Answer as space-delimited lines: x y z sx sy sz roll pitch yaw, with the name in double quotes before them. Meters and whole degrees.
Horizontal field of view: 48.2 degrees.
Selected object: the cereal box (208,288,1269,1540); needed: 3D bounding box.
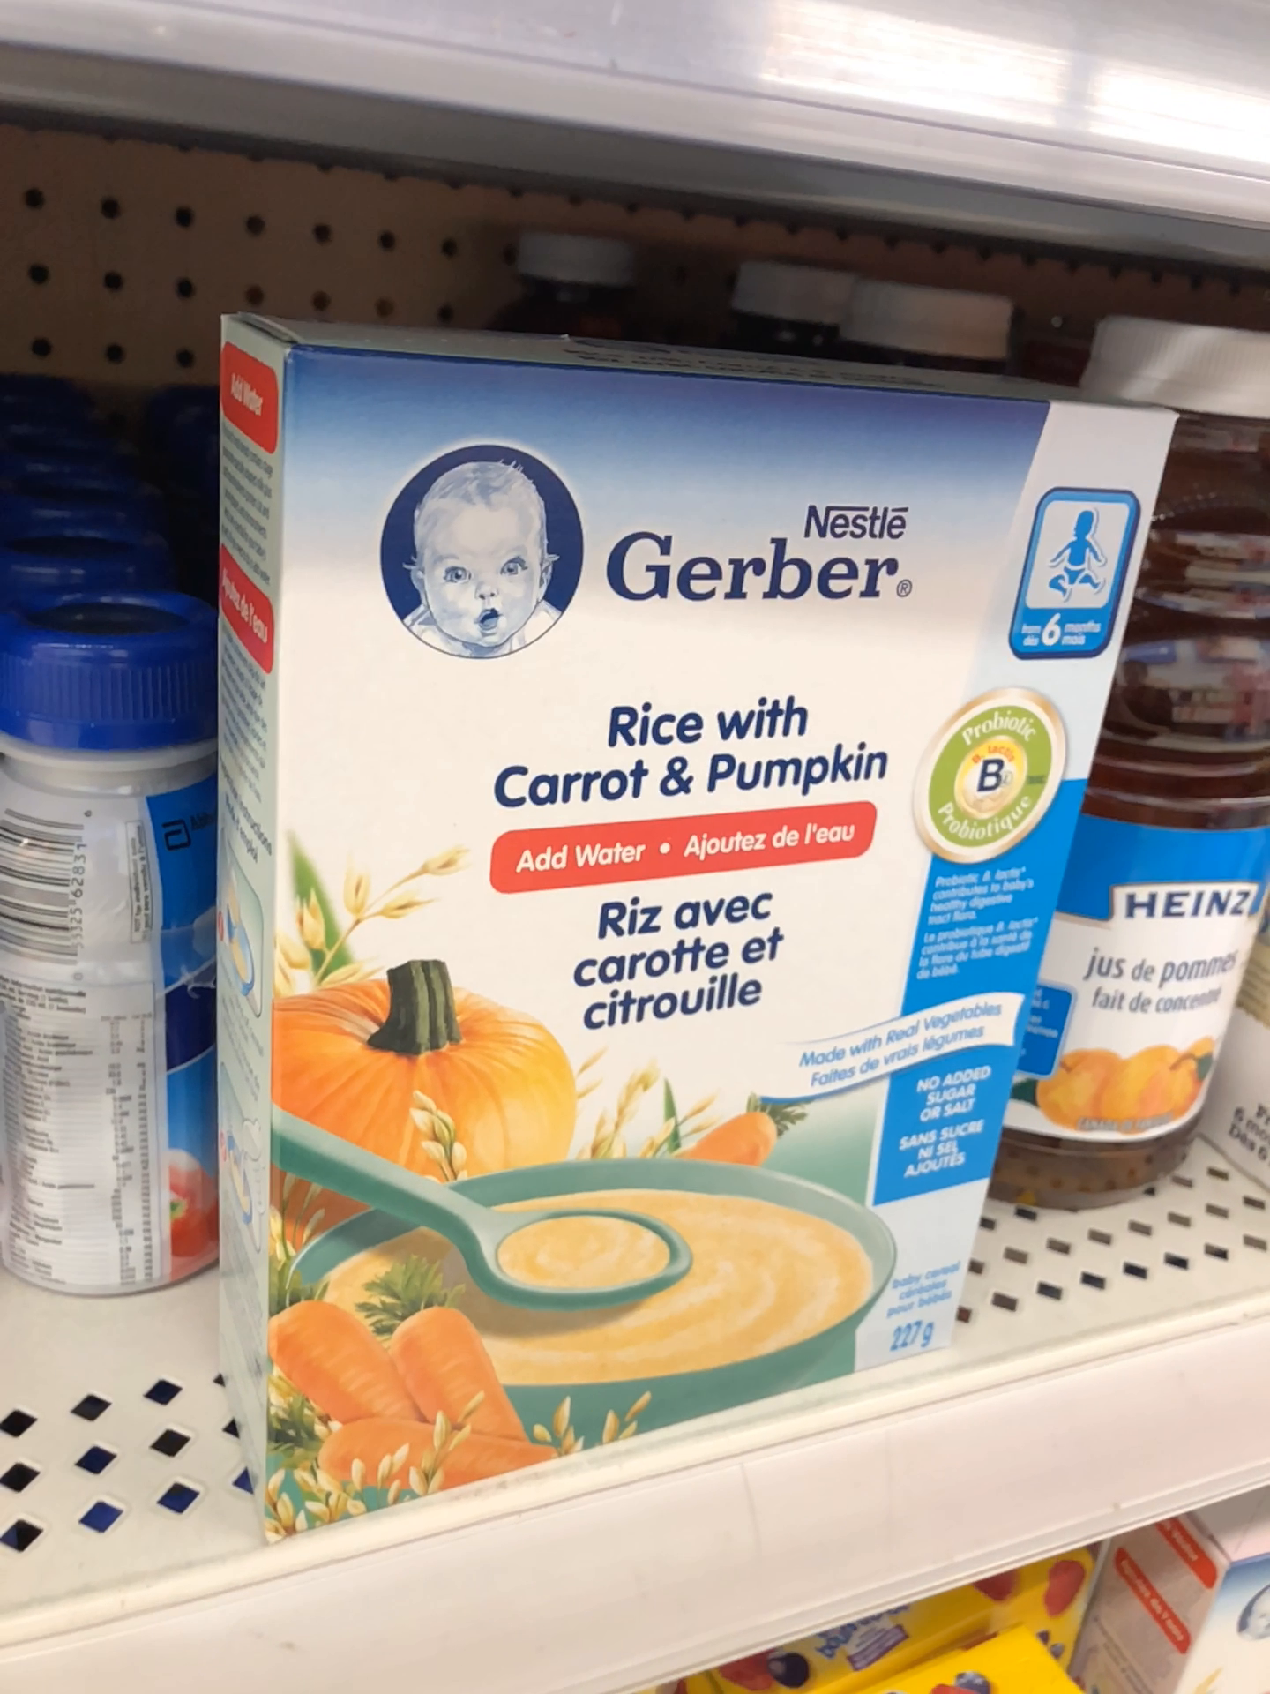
"cereal box" 0.010 0.010 0.241 0.150 0.179 0.050 -4 25 -27
